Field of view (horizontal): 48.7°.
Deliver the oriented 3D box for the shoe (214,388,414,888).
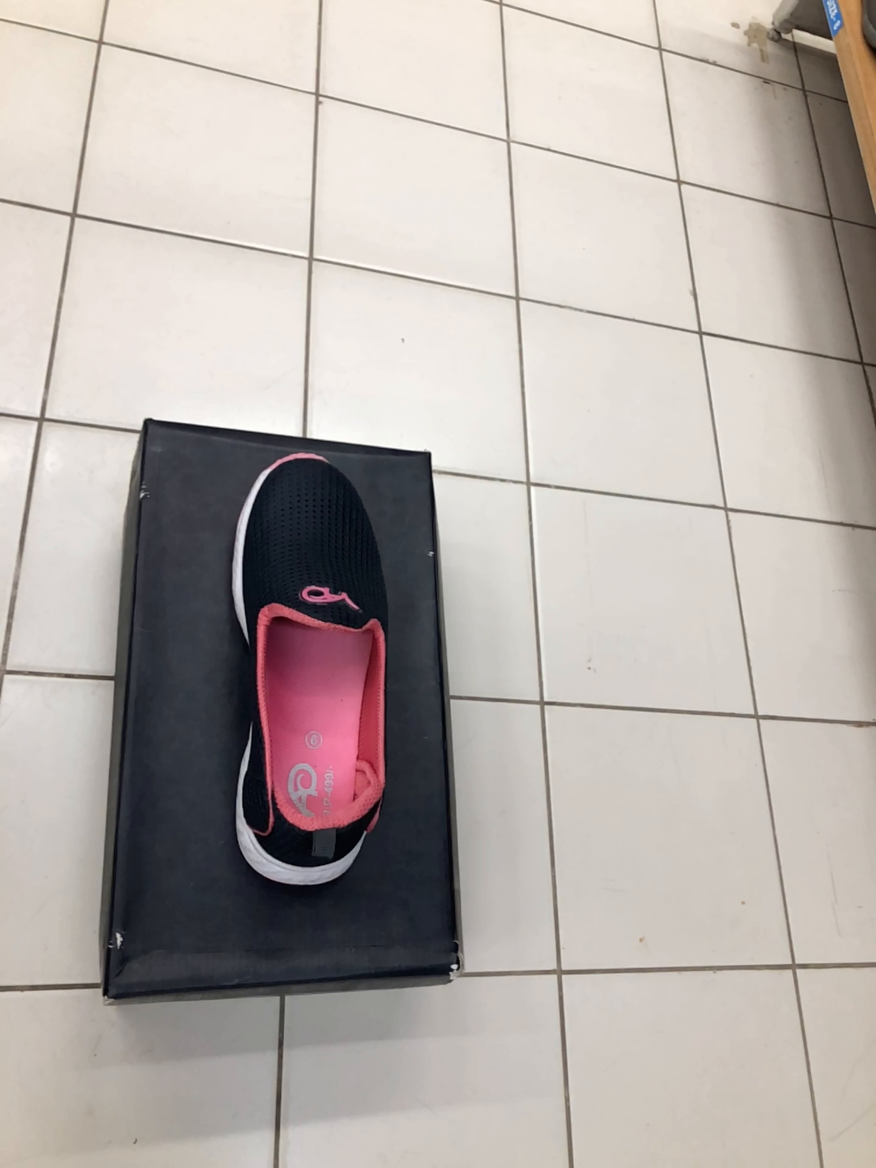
[{"bbox_3d":[-0.074,0.033,0.570,0.090,0.100,0.271,5,67,-17],"label":"shoe"}]
